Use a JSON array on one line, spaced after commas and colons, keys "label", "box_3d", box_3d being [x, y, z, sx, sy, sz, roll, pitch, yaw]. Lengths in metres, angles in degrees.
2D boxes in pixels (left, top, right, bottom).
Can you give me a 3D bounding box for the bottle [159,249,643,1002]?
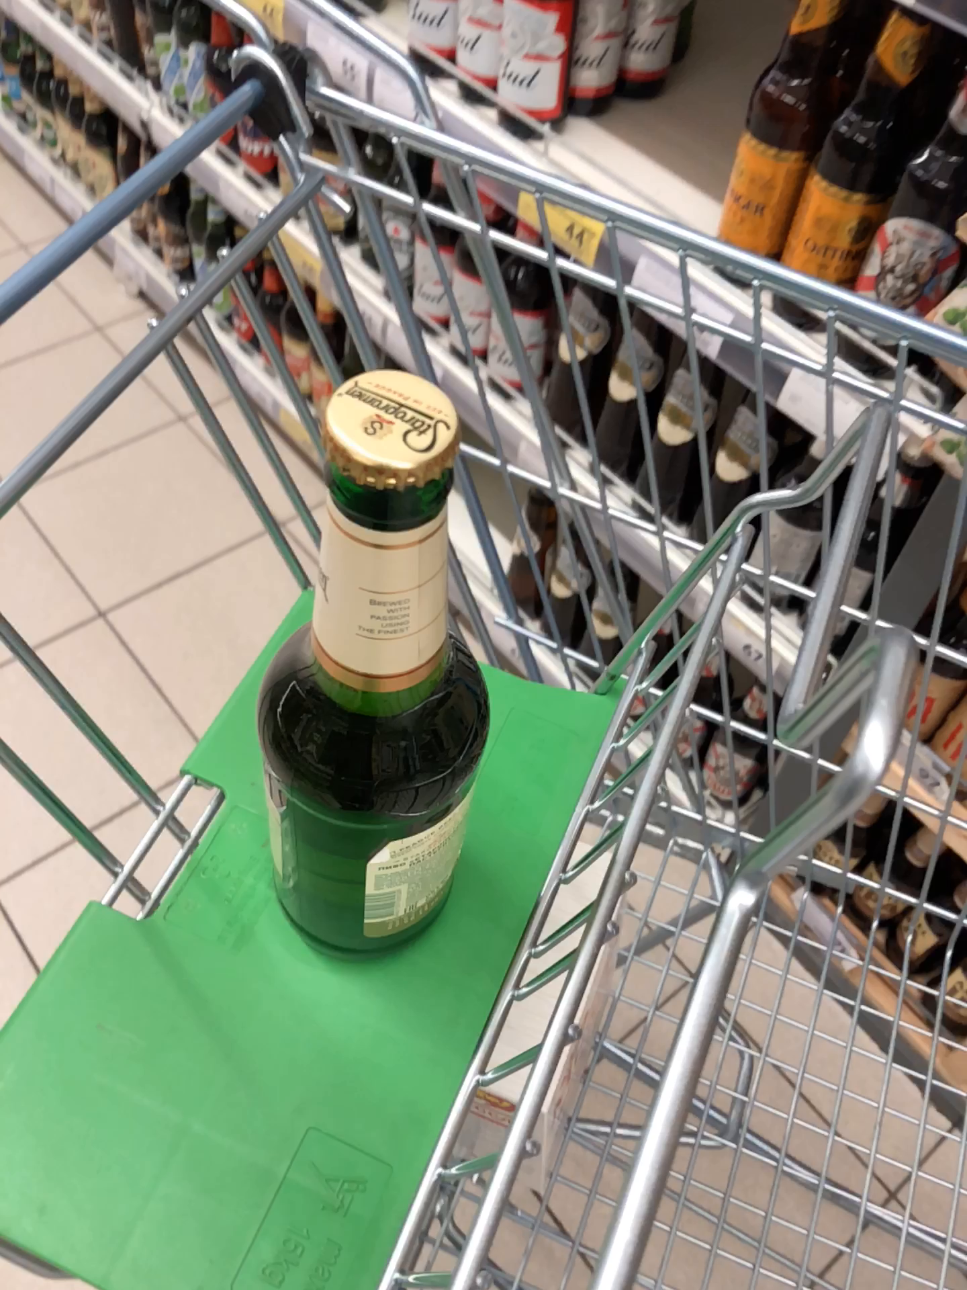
[{"label": "bottle", "box_3d": [-0.026, 0.019, 0.312, 0.070, 0.239, 0.070, 3, 55, -5]}]
